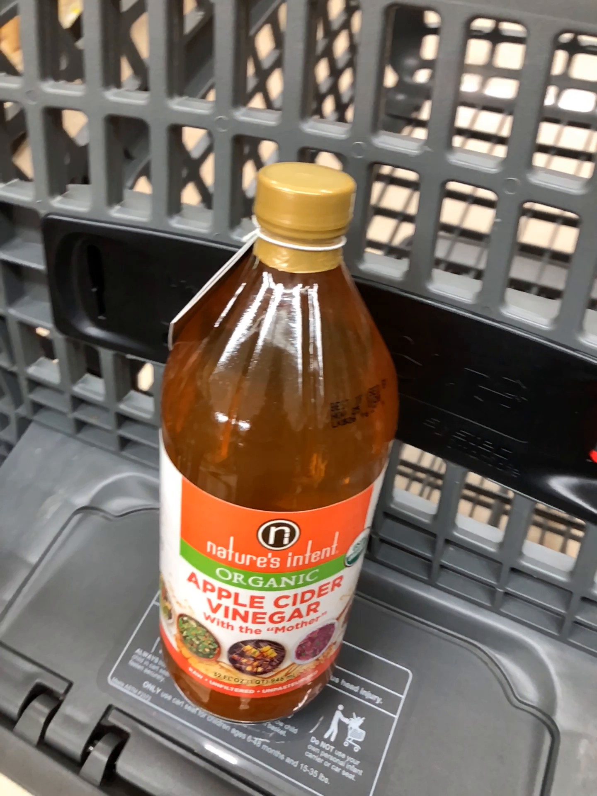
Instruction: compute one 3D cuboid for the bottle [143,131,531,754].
[{"bbox_3d":[-0.007,0.033,0.271,0.100,0.240,0.090,4,32,-8],"label":"bottle"}]
